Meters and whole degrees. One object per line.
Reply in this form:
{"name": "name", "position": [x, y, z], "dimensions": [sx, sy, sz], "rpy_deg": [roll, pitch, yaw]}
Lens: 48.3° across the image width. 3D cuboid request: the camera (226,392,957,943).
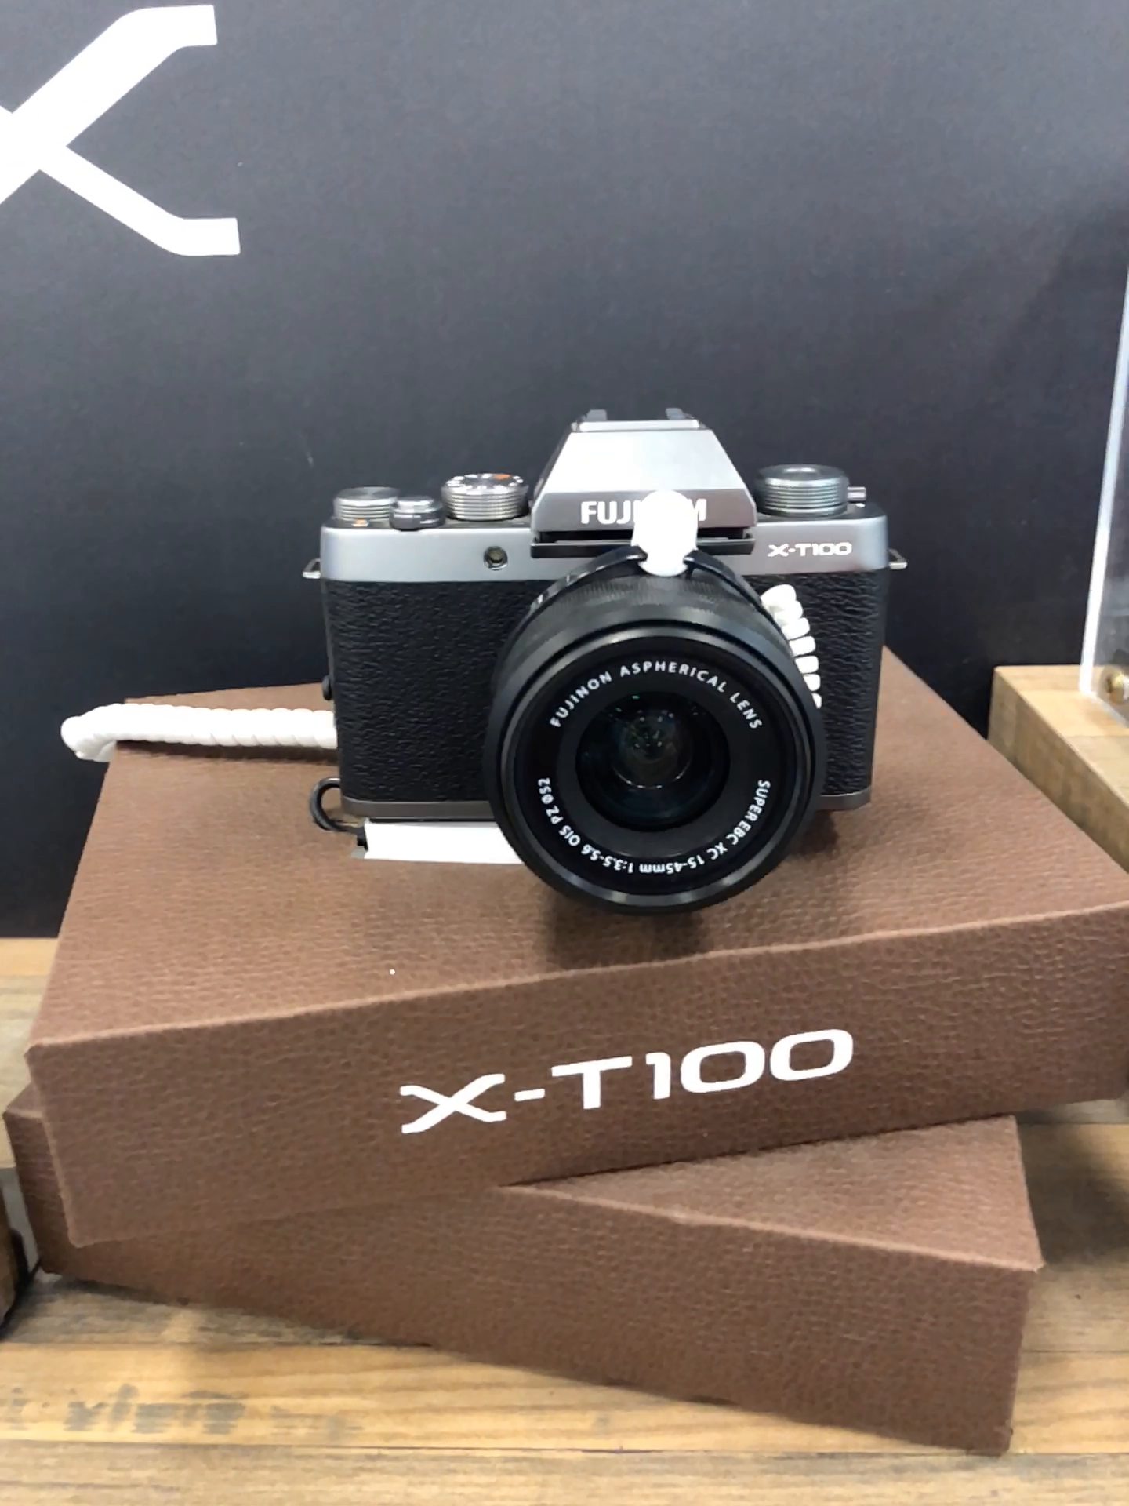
{"name": "camera", "position": [0.006, -0.023, 0.265], "dimensions": [0.120, 0.090, 0.090], "rpy_deg": [-1, 22, 2]}
